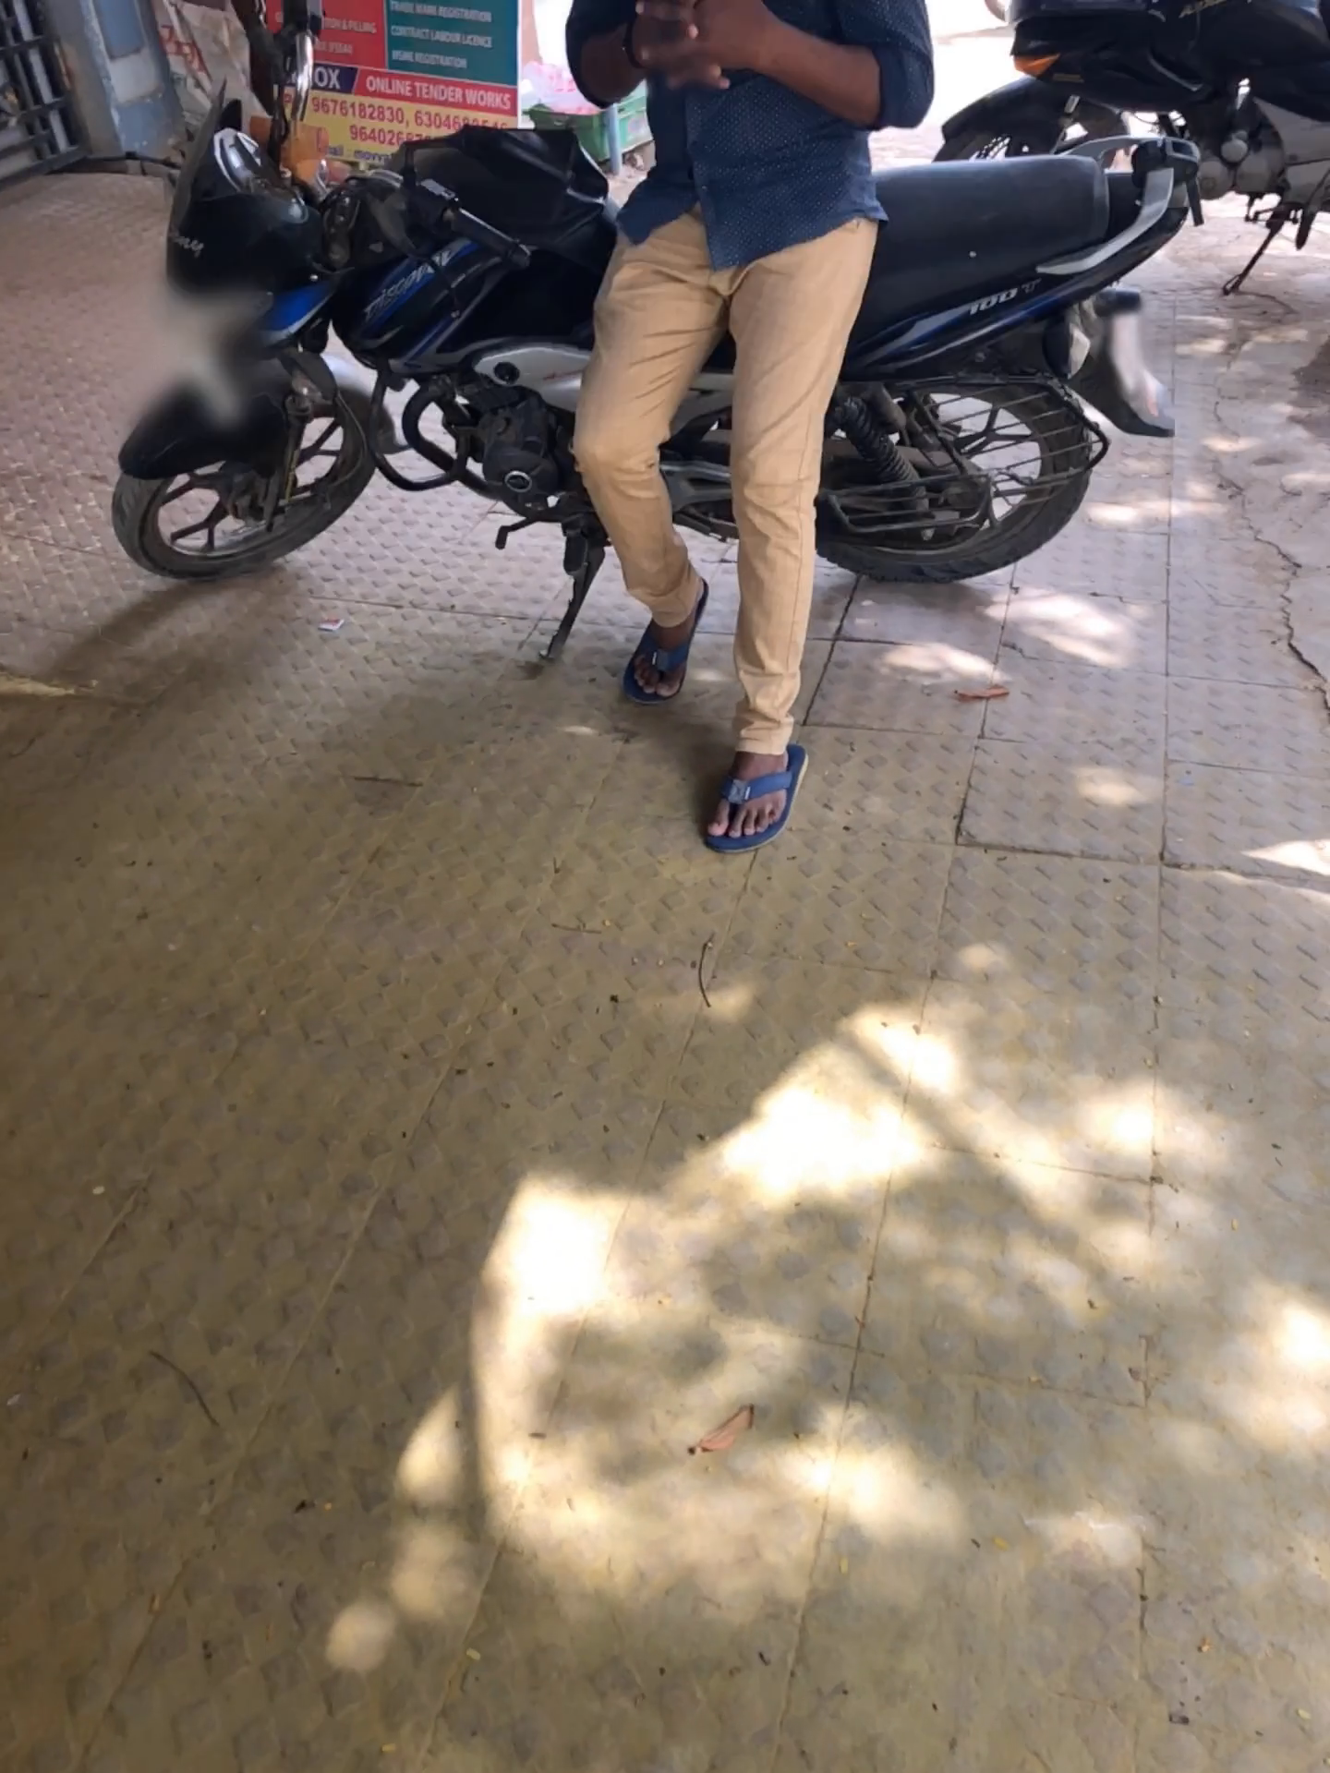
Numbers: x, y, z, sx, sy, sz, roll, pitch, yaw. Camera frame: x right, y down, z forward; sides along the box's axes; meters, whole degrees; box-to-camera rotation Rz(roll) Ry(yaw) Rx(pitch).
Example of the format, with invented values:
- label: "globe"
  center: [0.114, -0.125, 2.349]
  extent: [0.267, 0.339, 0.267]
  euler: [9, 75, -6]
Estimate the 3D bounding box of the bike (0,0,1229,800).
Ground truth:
- label: "bike"
  center: [-0.159, -0.894, 2.382]
  extent: [1.742, 1.174, 0.789]
  euler: [-3, 38, 5]
